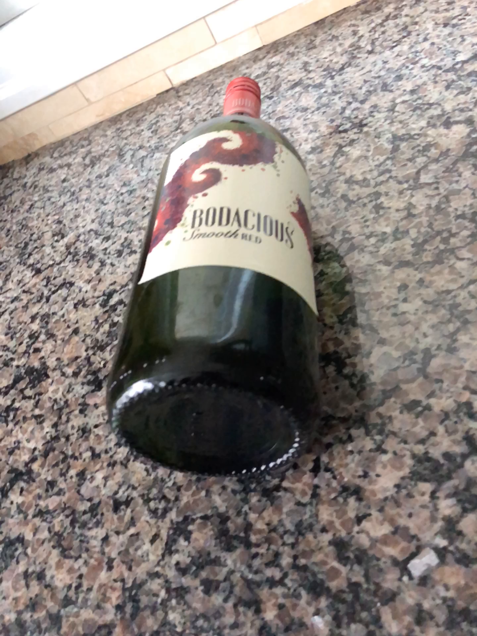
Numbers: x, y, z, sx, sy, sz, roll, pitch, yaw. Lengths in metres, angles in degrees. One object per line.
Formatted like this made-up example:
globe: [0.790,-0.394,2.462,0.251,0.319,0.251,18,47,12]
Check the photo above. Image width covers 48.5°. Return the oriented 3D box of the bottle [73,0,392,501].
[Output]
bottle: [0.001,-0.076,0.347,0.100,0.110,0.341,-52,25,44]
